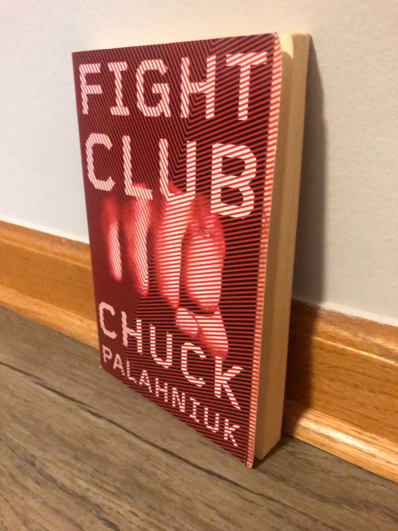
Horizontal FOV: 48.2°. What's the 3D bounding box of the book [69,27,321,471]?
[{"bbox_3d":[-0.011,-0.010,0.253,0.138,0.210,0.030,18,27,38],"label":"book"}]
